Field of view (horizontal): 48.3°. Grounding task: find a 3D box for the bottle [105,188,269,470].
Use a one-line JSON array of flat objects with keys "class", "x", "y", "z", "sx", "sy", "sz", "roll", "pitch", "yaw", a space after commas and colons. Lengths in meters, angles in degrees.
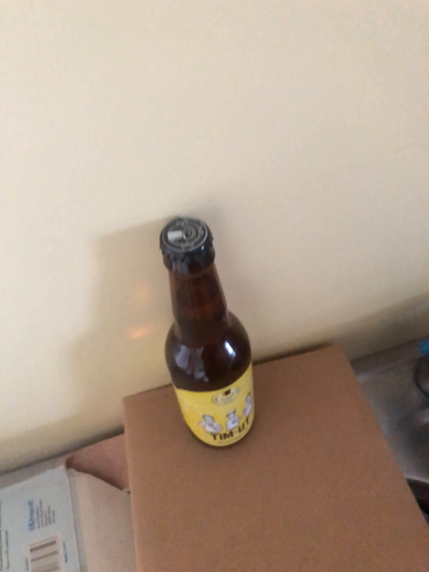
[{"class": "bottle", "x": -0.006, "y": 0.049, "z": 0.331, "sx": 0.060, "sy": 0.229, "sz": 0.060, "roll": -5, "pitch": 50, "yaw": 6}]
